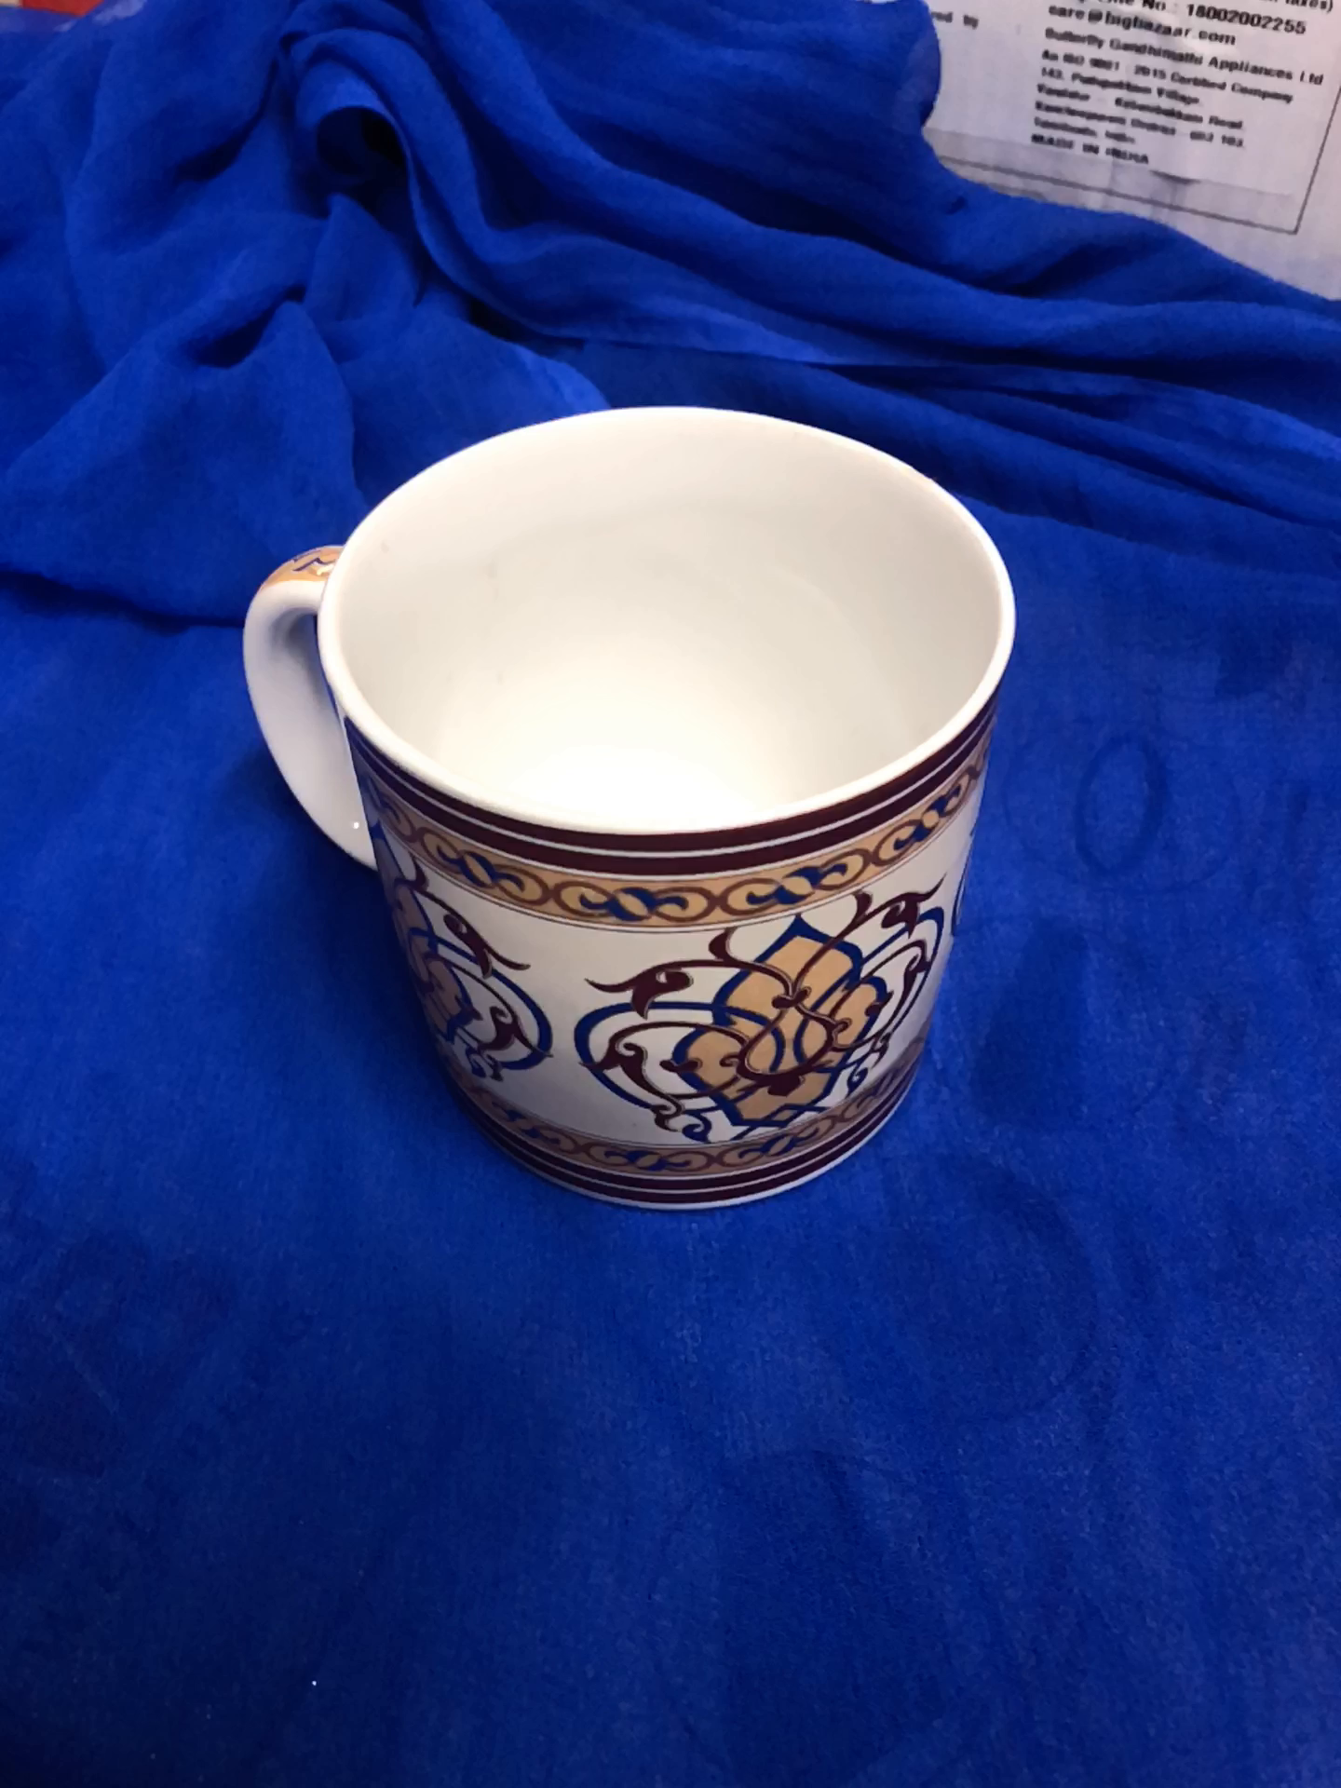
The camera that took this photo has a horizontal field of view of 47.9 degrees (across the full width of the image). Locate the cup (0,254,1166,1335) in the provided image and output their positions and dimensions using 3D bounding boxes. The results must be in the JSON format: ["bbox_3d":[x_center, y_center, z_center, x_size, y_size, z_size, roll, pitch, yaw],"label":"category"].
[{"bbox_3d":[-0.009,-0.016,0.201,0.110,0.080,0.080,22,53,15],"label":"cup"}]
